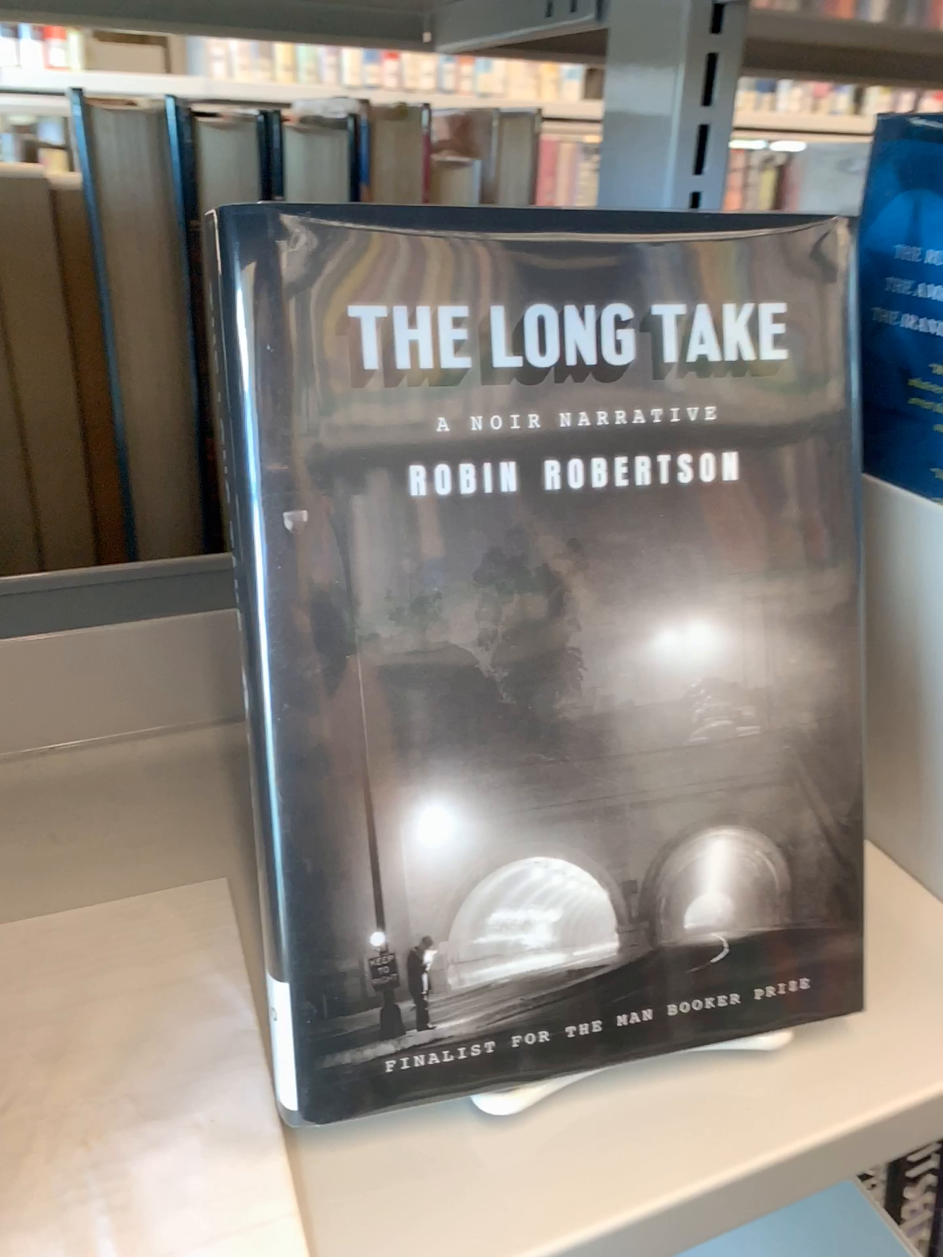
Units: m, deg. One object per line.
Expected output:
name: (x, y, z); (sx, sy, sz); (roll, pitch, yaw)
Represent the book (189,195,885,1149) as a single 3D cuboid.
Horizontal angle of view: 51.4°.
book: (0.021, 0.005, 0.248); (0.160, 0.206, 0.040); (-5, 7, -15)
